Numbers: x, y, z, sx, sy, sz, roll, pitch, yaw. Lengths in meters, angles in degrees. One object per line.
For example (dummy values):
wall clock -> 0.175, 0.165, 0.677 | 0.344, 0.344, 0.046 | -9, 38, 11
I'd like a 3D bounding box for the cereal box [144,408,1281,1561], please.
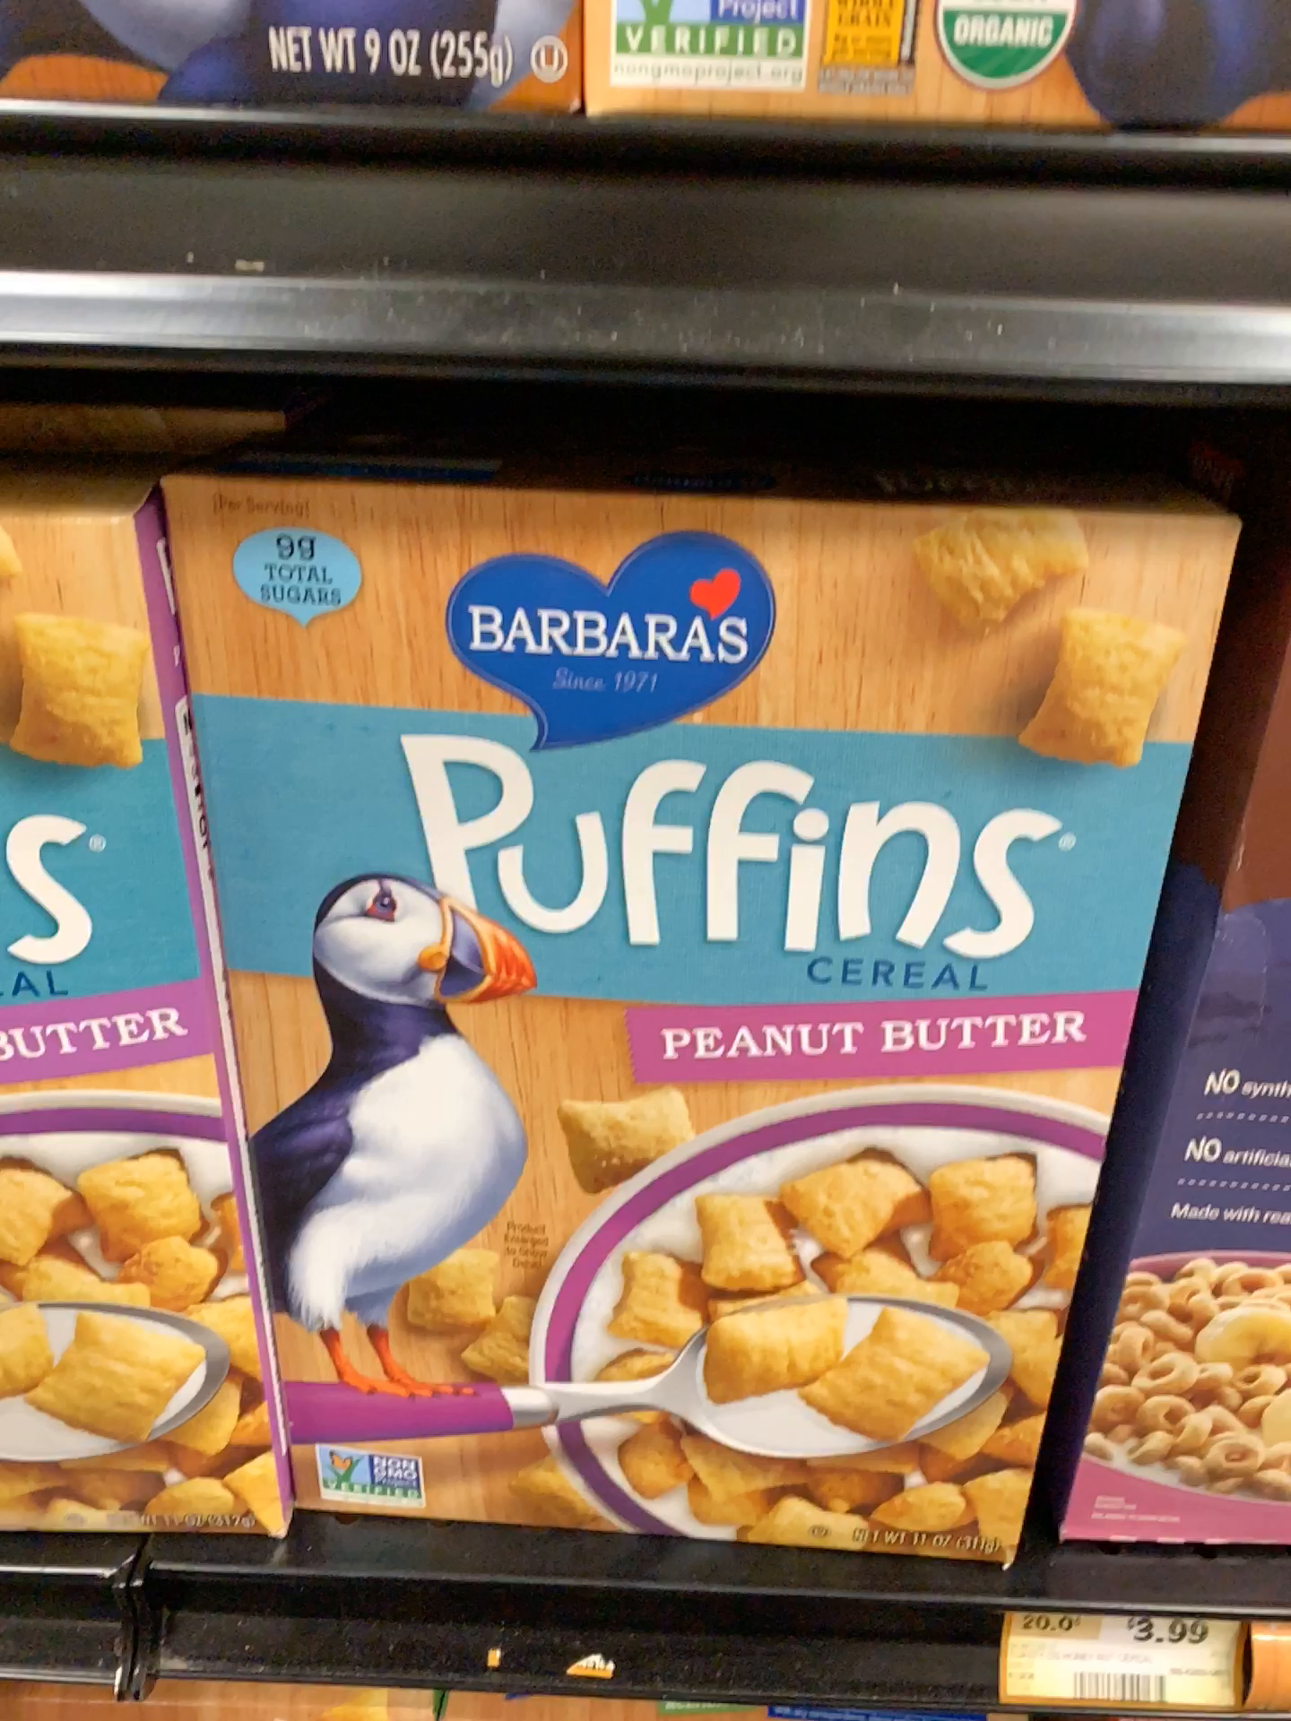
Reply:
cereal box -> 0.008, 0.035, 0.317 | 0.200, 0.259, 0.070 | 3, 23, 2
